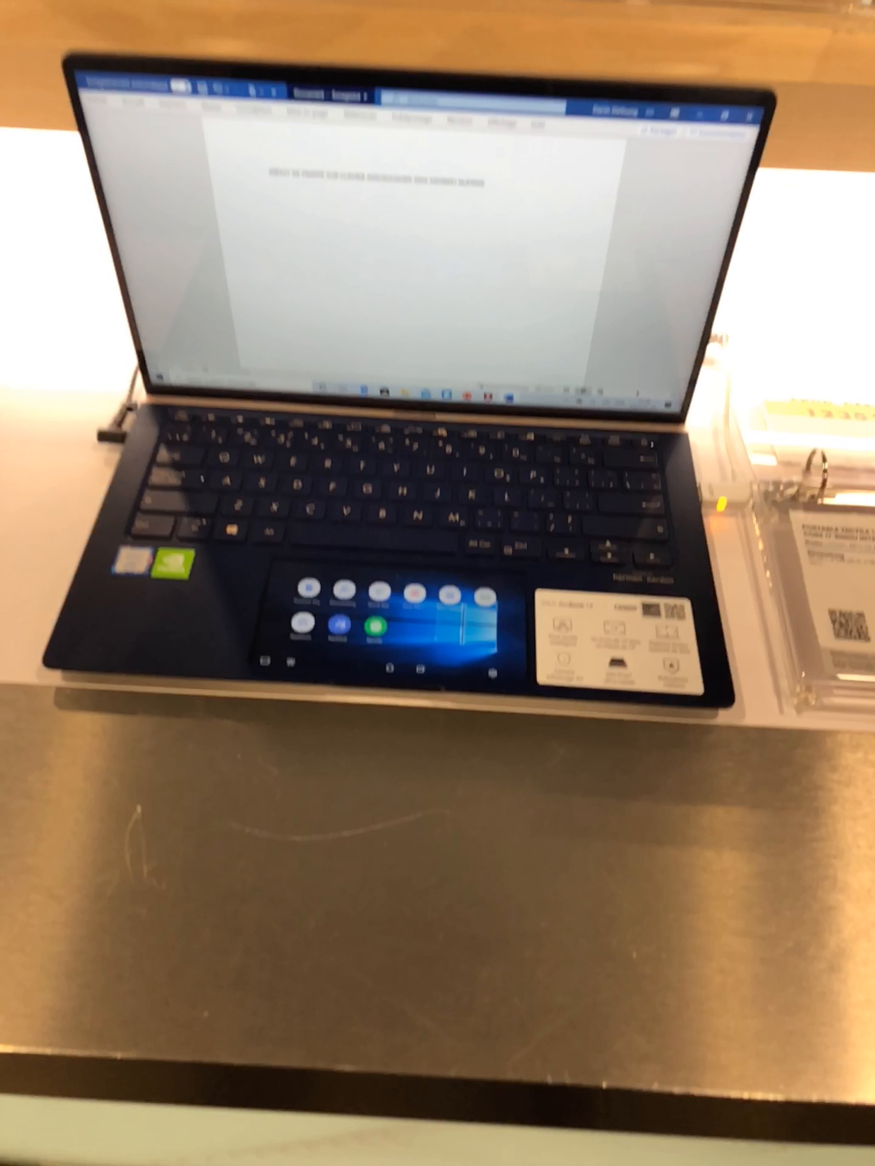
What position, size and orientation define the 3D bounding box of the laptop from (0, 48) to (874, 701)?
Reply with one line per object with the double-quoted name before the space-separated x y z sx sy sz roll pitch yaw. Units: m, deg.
"laptop" -0.016 -0.091 0.426 0.317 0.193 0.200 3 50 1
